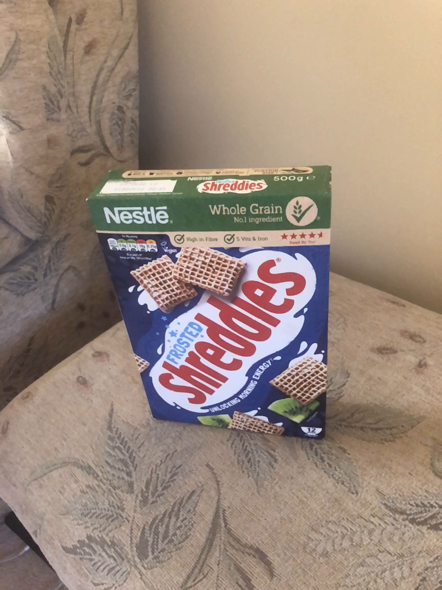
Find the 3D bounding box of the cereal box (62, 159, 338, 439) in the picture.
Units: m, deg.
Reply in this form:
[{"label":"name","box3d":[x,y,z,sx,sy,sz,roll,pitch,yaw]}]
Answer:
[{"label":"cereal box","box3d":[-0.002,0.014,0.445,0.200,0.258,0.060,3,38,14]}]
